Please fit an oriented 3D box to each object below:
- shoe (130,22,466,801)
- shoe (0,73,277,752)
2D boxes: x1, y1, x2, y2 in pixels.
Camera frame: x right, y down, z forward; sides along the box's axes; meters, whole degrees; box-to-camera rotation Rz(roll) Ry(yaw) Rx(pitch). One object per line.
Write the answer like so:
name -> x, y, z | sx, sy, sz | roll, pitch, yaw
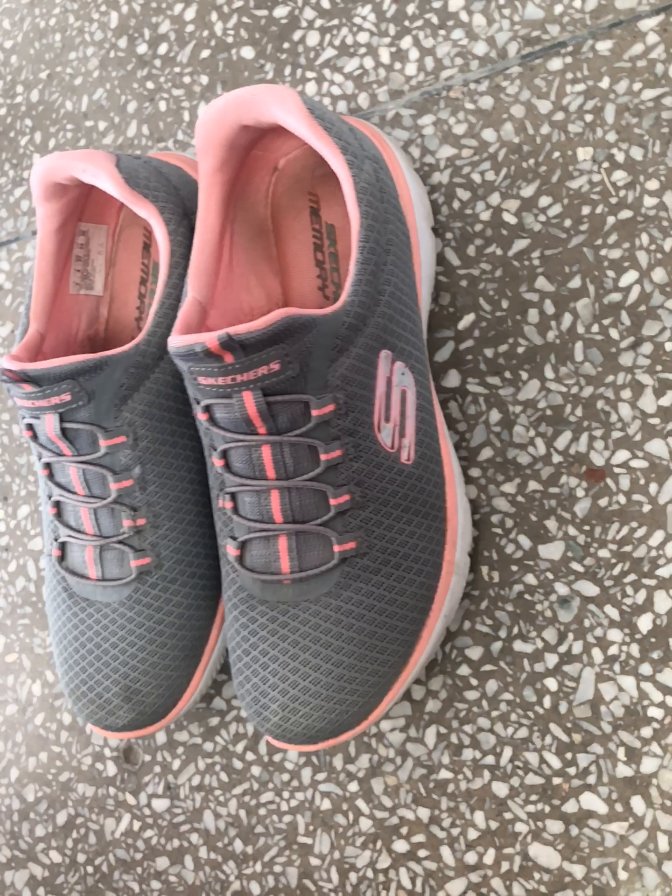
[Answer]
shoe -> -0.009, -0.010, 0.284 | 0.090, 0.100, 0.230 | -2, 86, 22
shoe -> -0.090, -0.011, 0.328 | 0.090, 0.100, 0.240 | -2, 86, 22
